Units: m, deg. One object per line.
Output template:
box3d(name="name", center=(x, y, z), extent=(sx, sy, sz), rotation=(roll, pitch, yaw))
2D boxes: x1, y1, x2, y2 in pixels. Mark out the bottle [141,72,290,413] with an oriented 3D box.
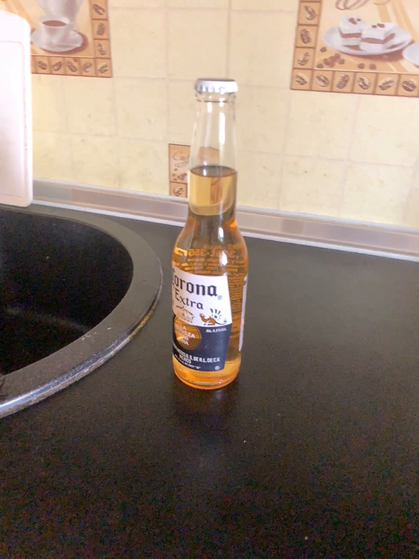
box3d(name="bottle", center=(0.002, -0.023, 0.339), extent=(0.070, 0.249, 0.070), rotation=(1, 28, -1))
